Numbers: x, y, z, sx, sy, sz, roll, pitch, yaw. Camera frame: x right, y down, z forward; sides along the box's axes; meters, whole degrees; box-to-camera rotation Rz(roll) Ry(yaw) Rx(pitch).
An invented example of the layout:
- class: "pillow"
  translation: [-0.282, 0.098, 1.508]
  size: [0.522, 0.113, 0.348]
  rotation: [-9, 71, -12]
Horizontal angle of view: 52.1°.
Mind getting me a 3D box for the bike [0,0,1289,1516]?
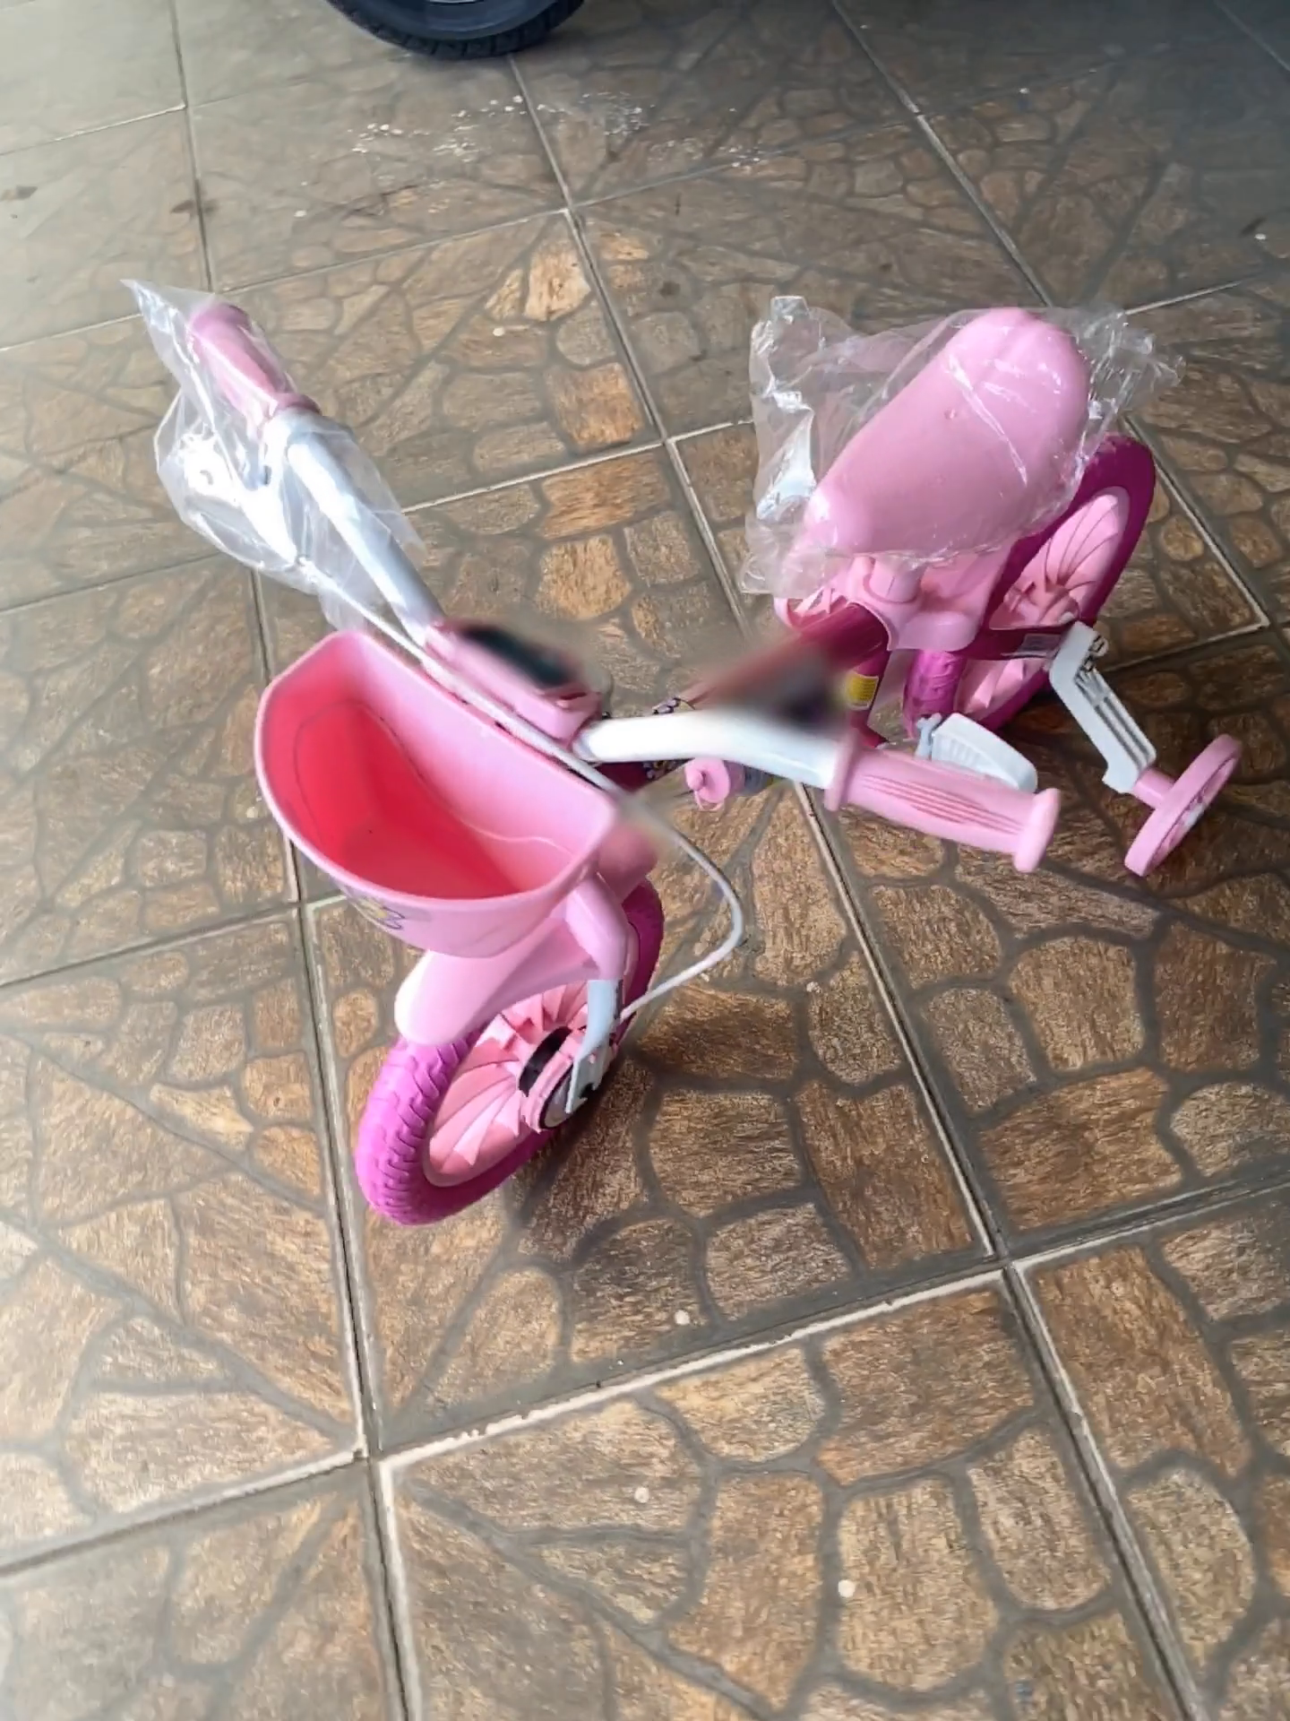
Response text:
- class: "bike"
  translation: [0.076, -0.104, 0.868]
  size: [0.793, 0.563, 0.511]
  rotation: [-41, 63, -18]
